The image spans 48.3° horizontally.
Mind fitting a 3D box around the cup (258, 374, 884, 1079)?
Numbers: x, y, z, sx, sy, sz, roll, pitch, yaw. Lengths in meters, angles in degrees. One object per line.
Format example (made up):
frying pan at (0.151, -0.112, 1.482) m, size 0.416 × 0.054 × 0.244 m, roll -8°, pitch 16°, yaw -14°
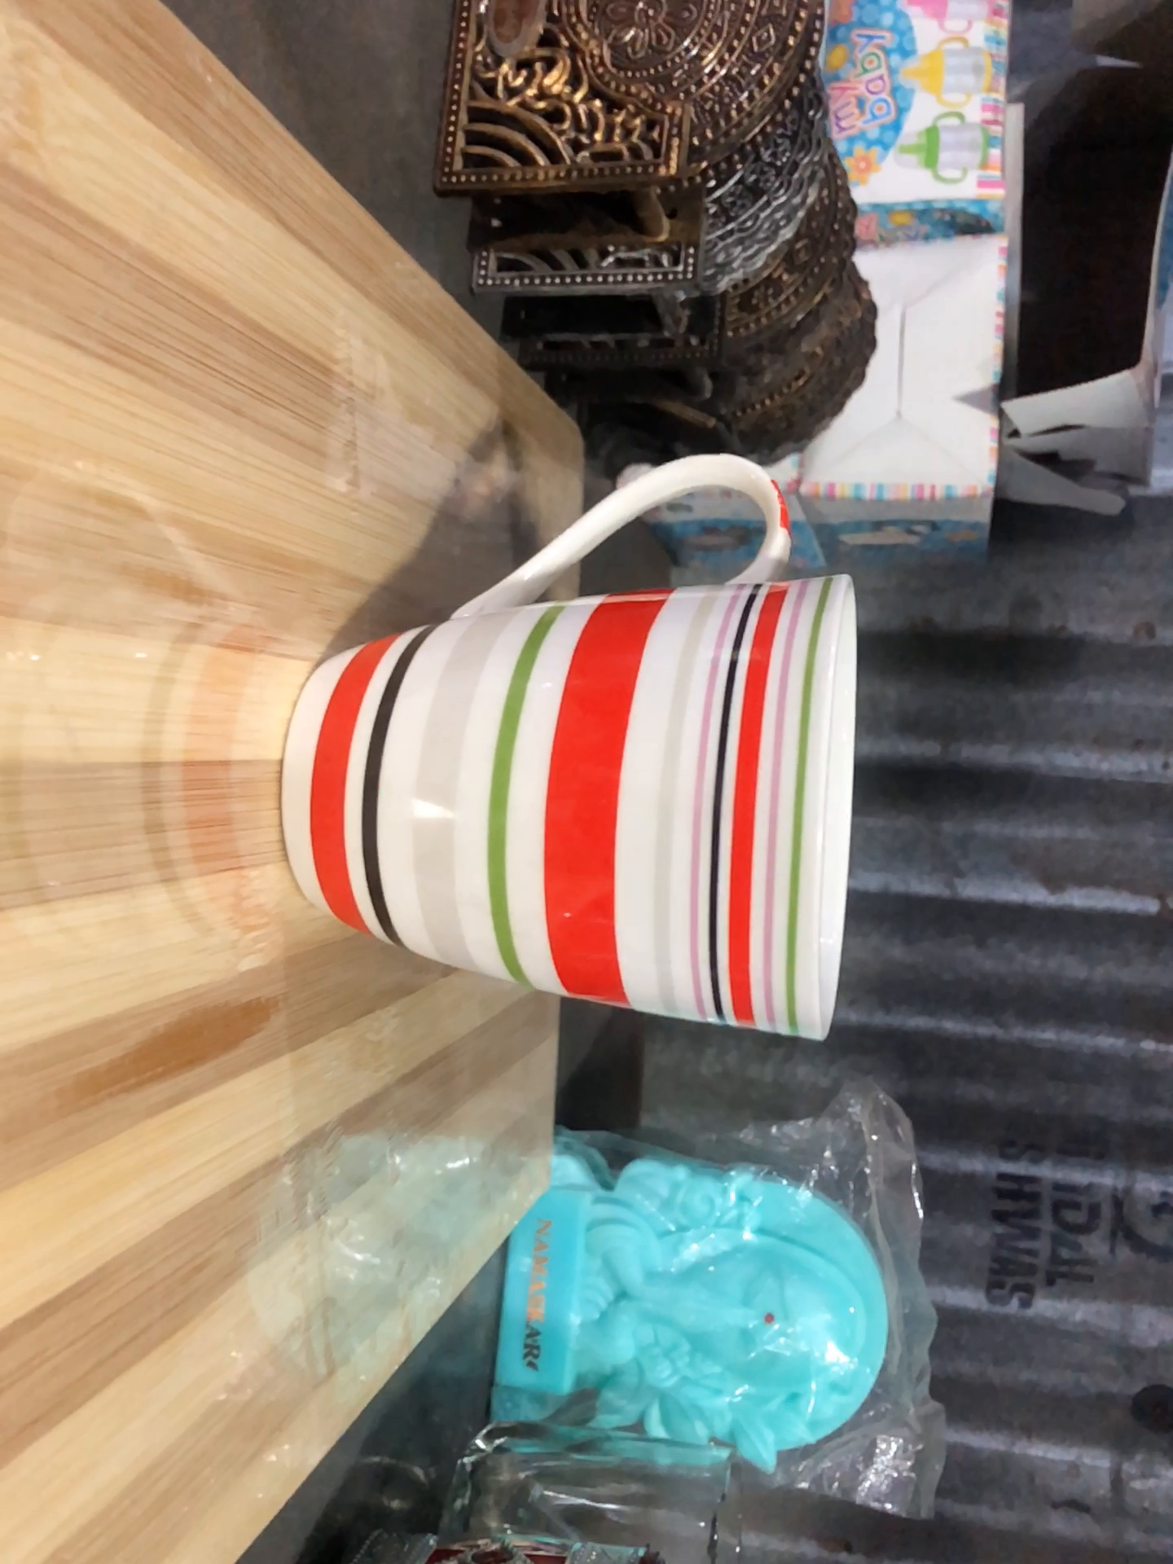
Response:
cup at (0.003, -0.013, 0.253) m, size 0.080 × 0.100 × 0.110 m, roll -15°, pitch 109°, yaw -77°
